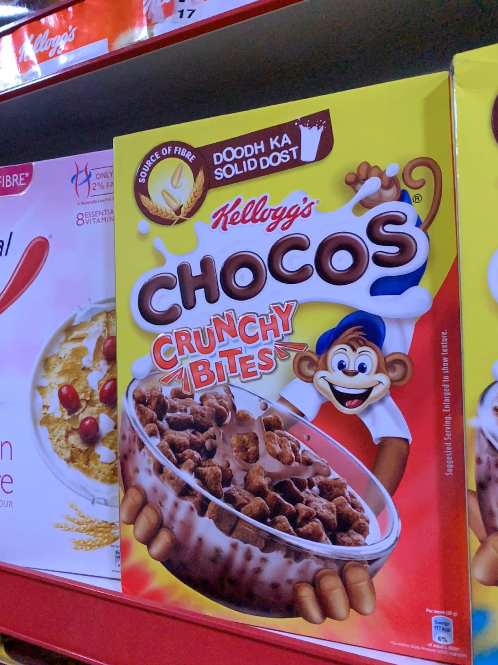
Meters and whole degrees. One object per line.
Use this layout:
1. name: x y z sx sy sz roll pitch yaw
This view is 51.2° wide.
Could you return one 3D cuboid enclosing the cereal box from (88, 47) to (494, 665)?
1. cereal box: 0.018 0.013 0.281 0.190 0.260 0.080 -2 -3 19
